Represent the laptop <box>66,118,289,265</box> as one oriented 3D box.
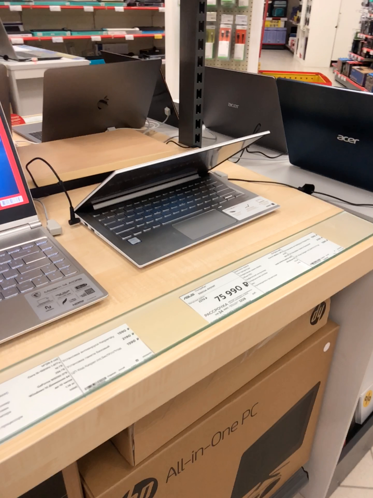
[{"bbox_3d":[-0.011,-0.120,0.699,0.309,0.119,0.197,-23,38,-34],"label":"laptop"}]
